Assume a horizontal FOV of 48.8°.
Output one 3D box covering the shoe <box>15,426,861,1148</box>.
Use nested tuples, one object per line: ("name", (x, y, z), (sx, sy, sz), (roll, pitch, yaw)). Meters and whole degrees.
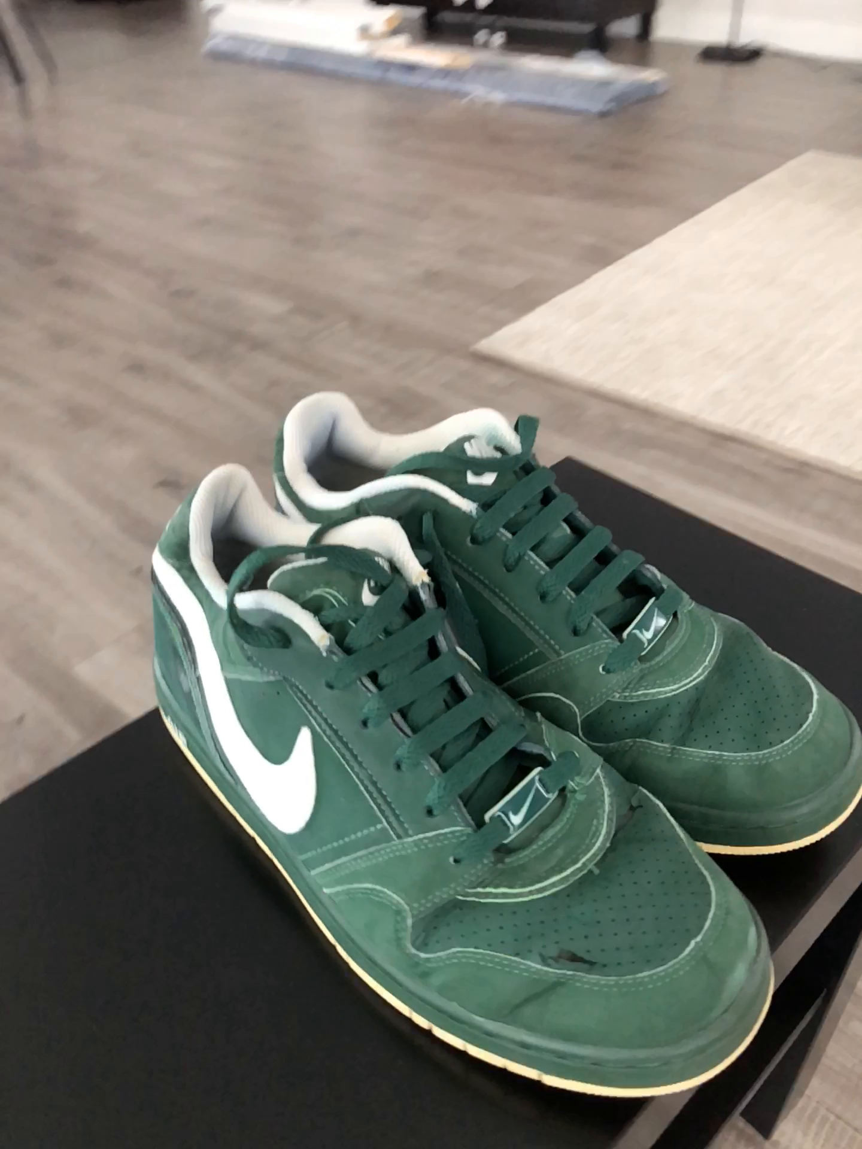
("shoe", (-0.020, 0.064, 0.340), (0.100, 0.100, 0.293), (-33, 50, -32))

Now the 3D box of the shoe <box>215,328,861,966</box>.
("shoe", (0.048, 0.006, 0.394), (0.281, 0.100, 0.110), (32, 50, 32))
